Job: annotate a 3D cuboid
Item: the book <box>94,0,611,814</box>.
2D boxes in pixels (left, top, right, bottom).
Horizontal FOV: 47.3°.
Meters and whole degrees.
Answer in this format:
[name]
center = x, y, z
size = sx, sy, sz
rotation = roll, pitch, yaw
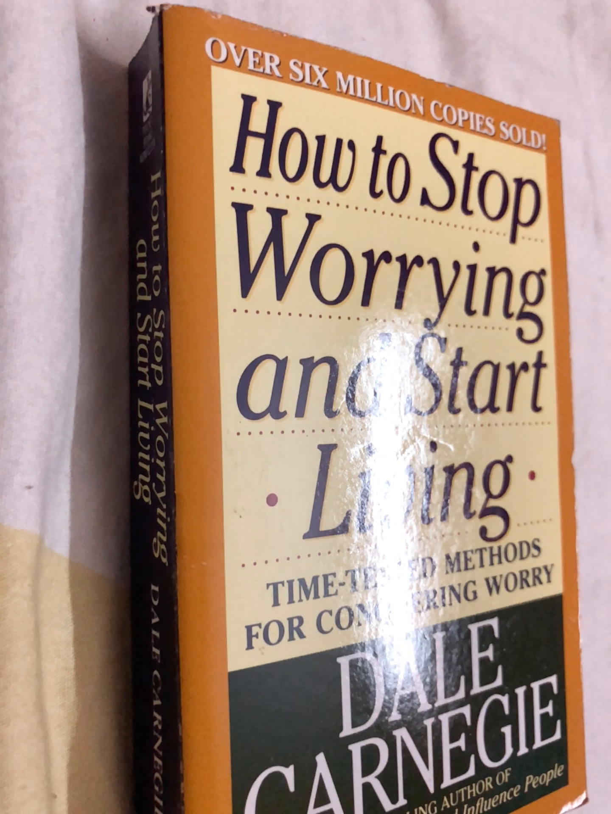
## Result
[book]
center = 0.017, 0.013, 0.160
size = 0.110, 0.050, 0.170
rotation = -1, 87, -35
